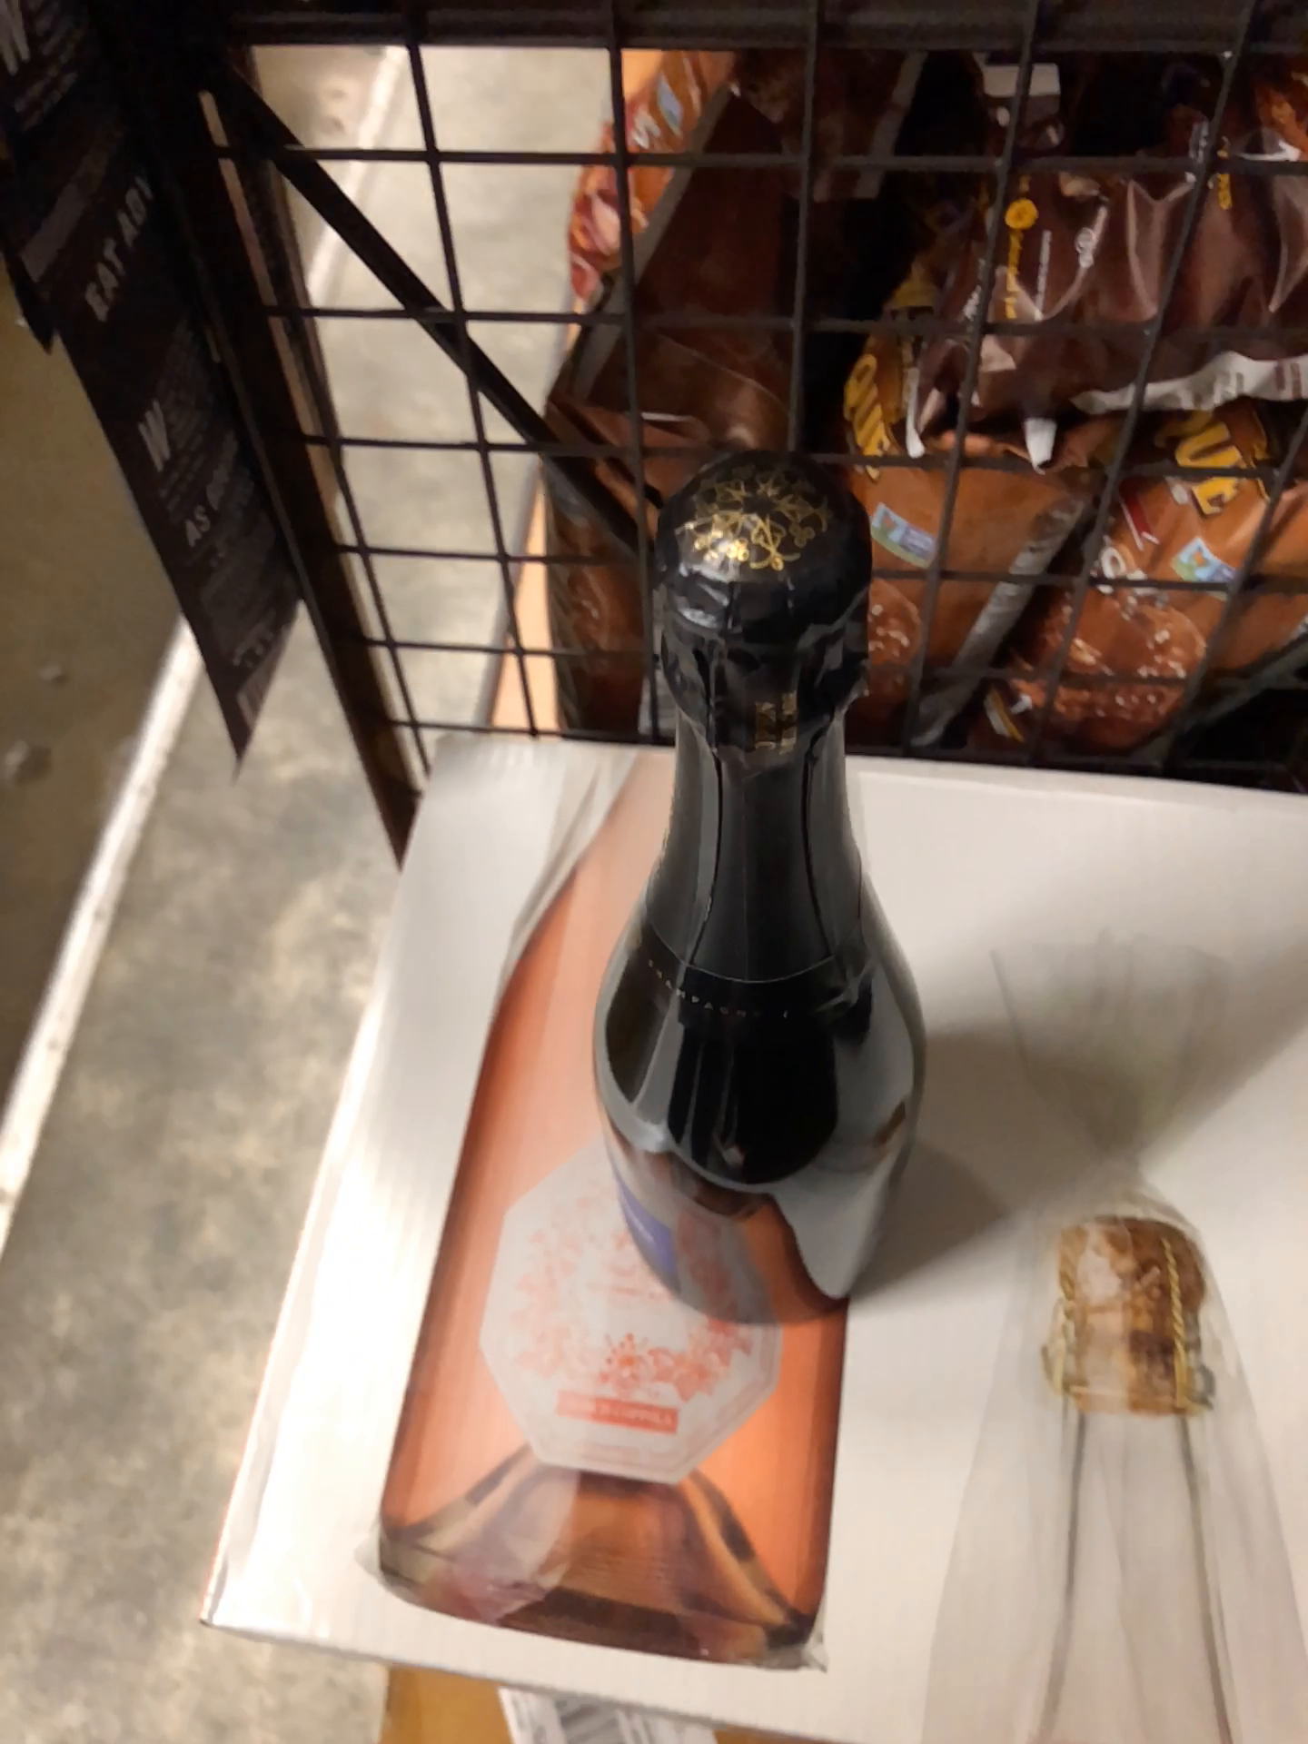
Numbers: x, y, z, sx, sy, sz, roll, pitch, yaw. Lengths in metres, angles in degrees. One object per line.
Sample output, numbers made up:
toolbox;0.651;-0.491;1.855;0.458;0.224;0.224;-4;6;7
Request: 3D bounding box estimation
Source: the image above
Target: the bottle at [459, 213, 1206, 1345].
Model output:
bottle;0.027;0.019;0.330;0.090;0.300;0.100;-1;59;2
